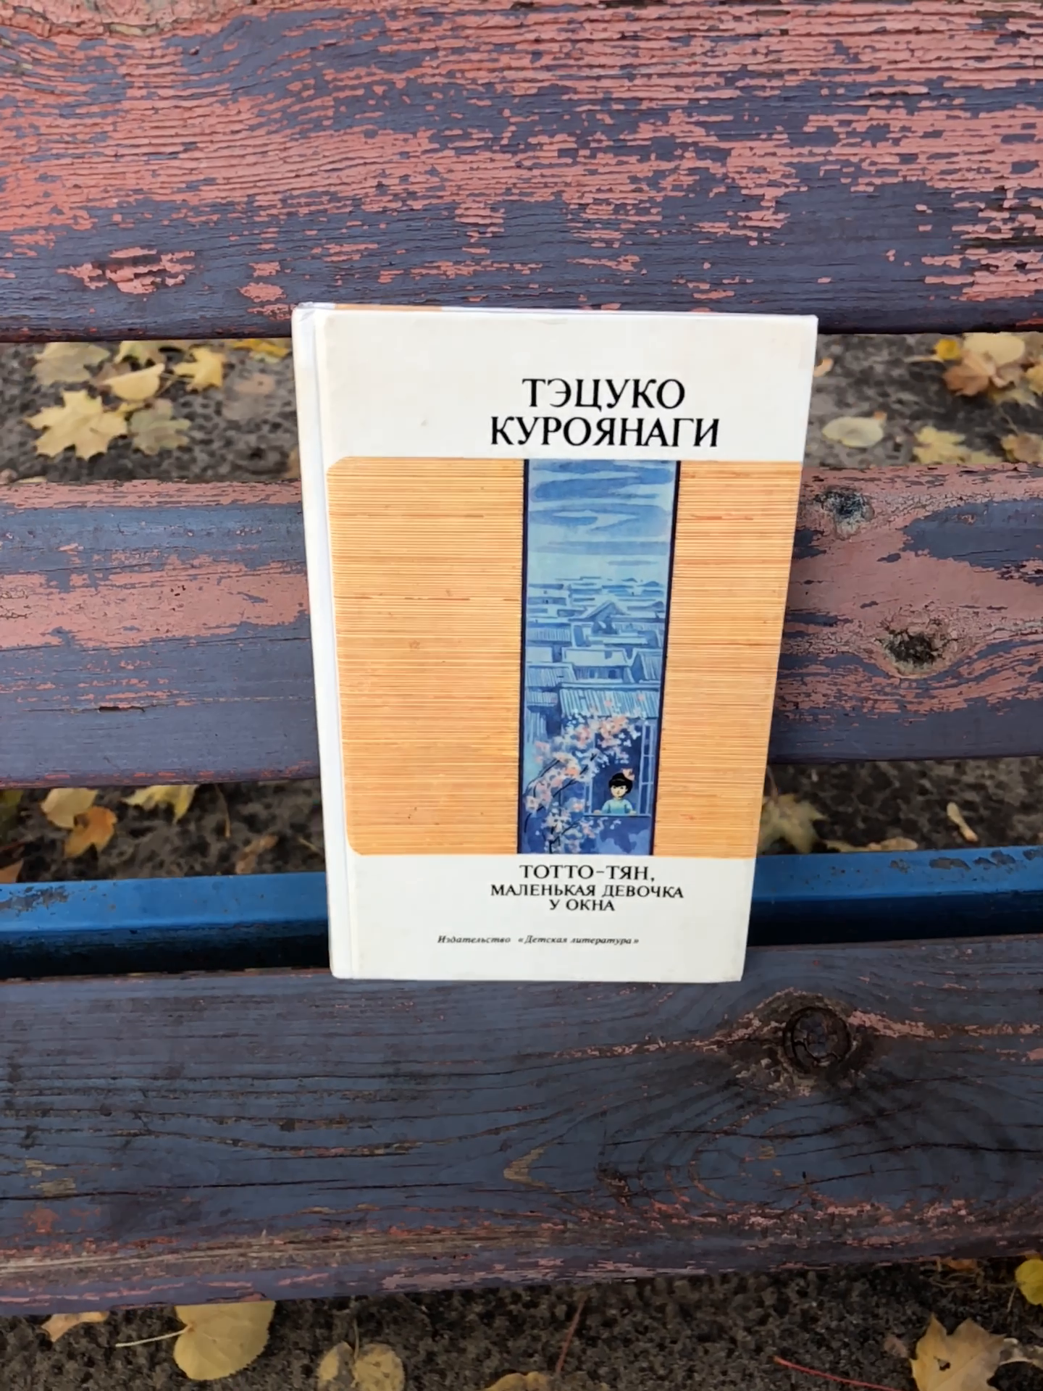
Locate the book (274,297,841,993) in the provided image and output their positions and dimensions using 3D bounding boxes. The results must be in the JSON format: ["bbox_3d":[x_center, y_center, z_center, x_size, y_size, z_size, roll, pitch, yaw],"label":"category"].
[{"bbox_3d":[0.006,-0.003,0.320,0.134,0.198,0.016,0,25,-4],"label":"book"}]
